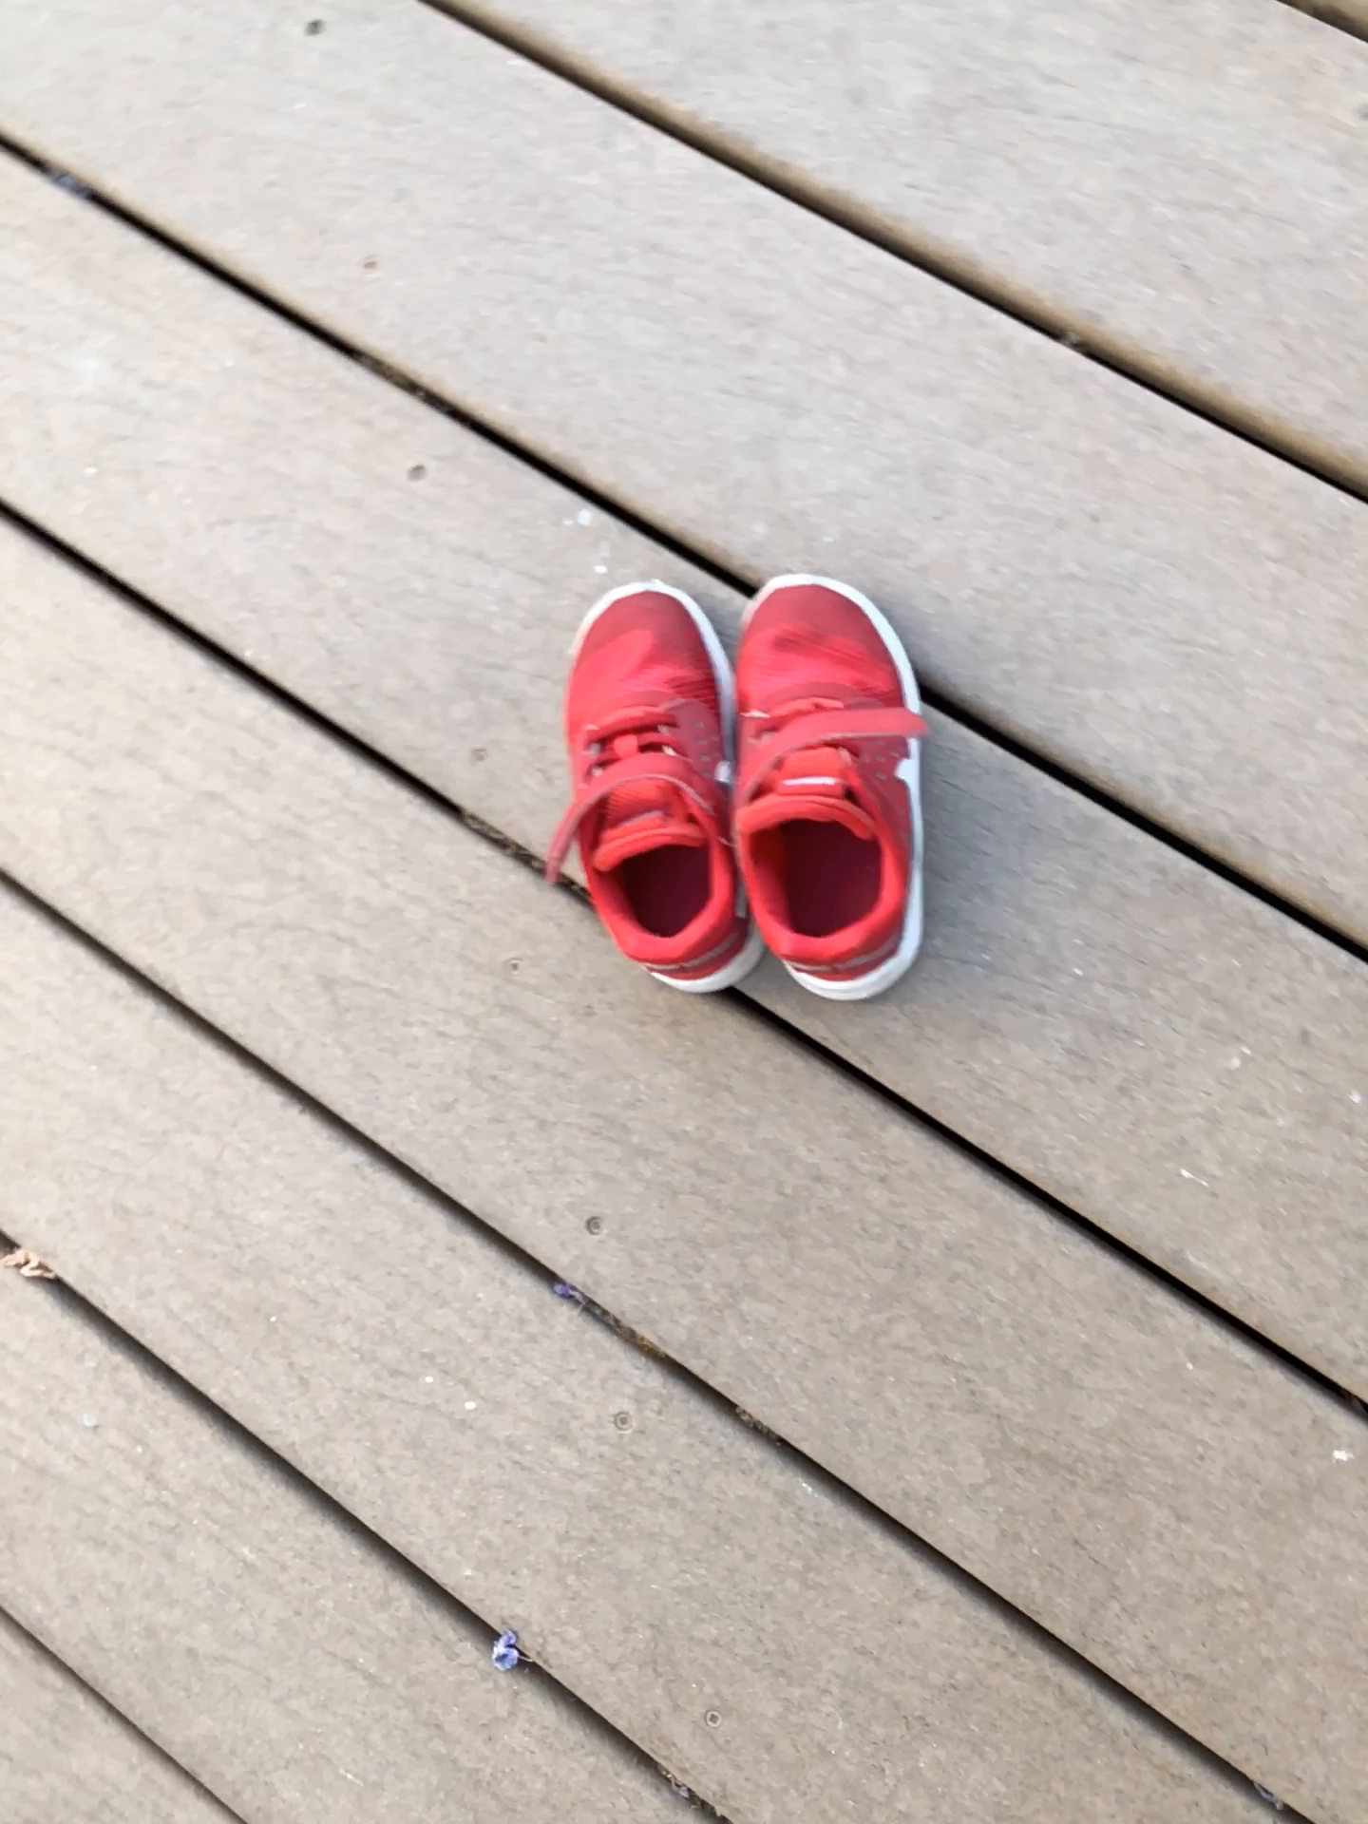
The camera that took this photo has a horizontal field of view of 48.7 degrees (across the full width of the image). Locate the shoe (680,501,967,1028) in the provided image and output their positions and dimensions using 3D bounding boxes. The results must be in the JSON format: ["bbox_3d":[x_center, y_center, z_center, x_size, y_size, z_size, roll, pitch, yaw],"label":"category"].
[{"bbox_3d":[0.053,-0.048,0.544,0.077,0.087,0.167,-5,88,13],"label":"shoe"}]

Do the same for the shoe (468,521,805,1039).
[{"bbox_3d":[-0.014,-0.045,0.567,0.077,0.087,0.167,-11,87,12],"label":"shoe"}]
